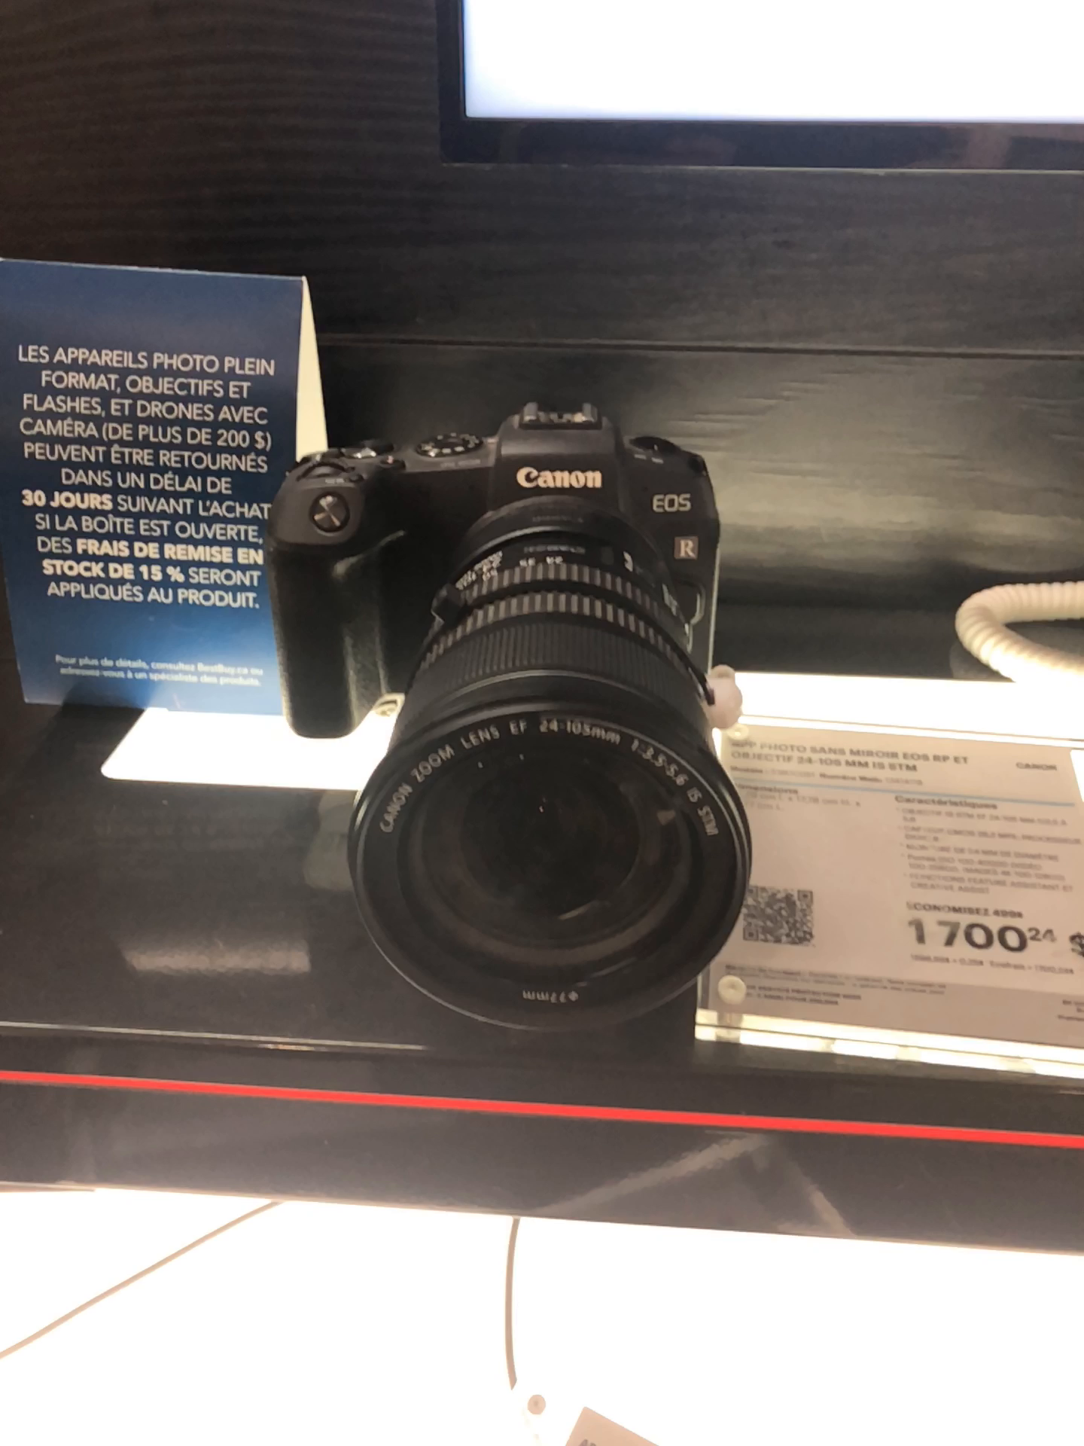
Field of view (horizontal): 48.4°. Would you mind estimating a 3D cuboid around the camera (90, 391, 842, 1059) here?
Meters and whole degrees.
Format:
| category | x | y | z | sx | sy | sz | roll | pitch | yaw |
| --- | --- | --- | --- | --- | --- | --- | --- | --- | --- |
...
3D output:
| category | x | y | z | sx | sy | sz | roll | pitch | yaw |
| --- | --- | --- | --- | --- | --- | --- | --- | --- | --- |
| camera | -0.011 | -0.016 | 0.307 | 0.128 | 0.099 | 0.178 | 1 | 26 | 1 |
